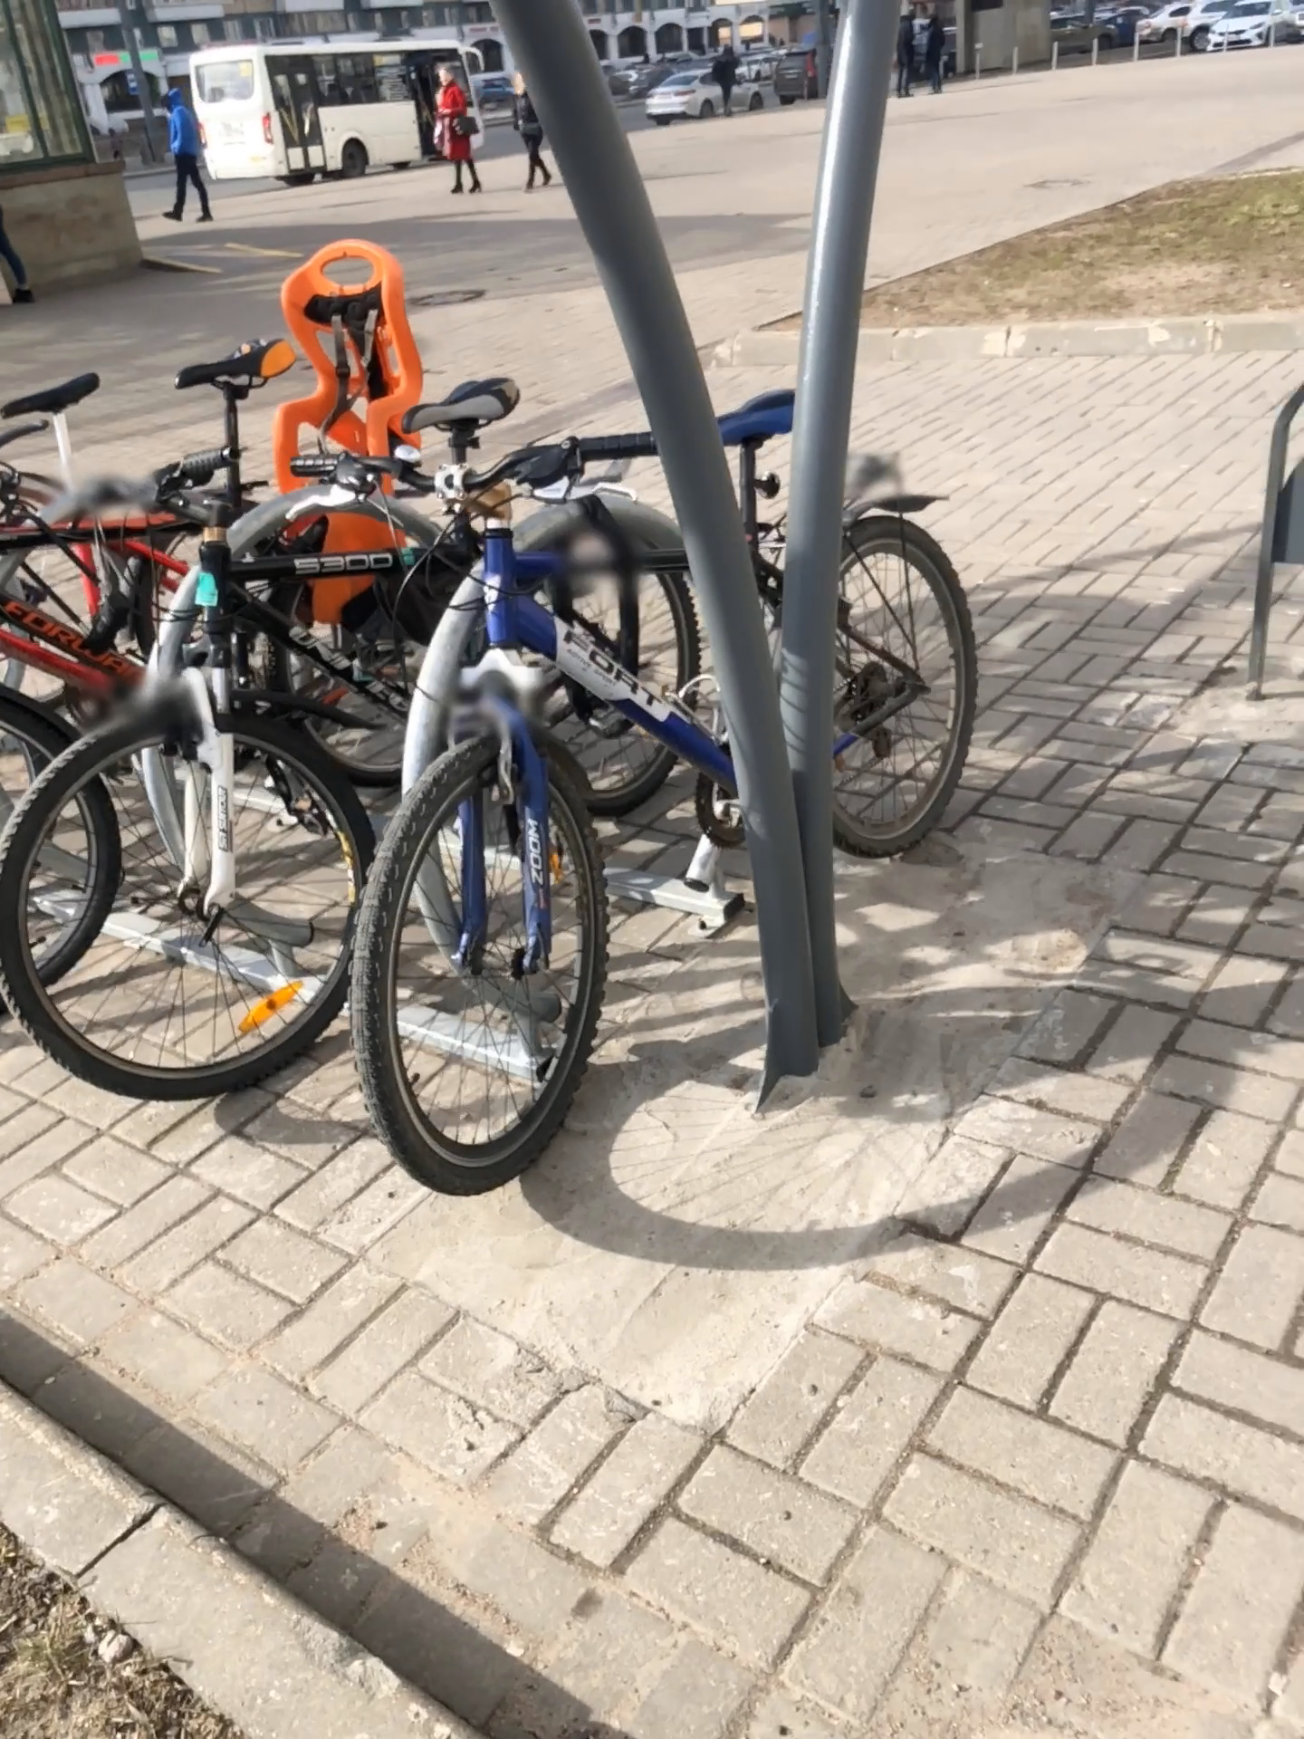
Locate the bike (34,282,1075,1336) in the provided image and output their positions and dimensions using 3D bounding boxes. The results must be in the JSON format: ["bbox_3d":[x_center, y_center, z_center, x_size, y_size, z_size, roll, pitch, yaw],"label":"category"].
[{"bbox_3d":[0.057,-0.296,2.250,0.628,0.959,1.664,14,34,33],"label":"bike"}]
